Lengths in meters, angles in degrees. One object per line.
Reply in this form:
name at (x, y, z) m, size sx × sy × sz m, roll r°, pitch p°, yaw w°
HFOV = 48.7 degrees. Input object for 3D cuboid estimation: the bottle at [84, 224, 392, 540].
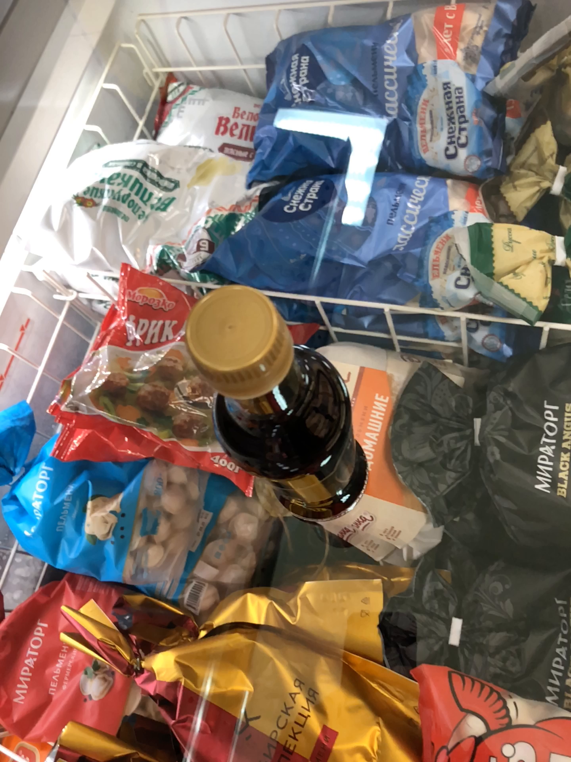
bottle at (-0.001, 0.017, 0.276) m, size 0.070 × 0.180 × 0.070 m, roll -6°, pitch 66°, yaw 14°
